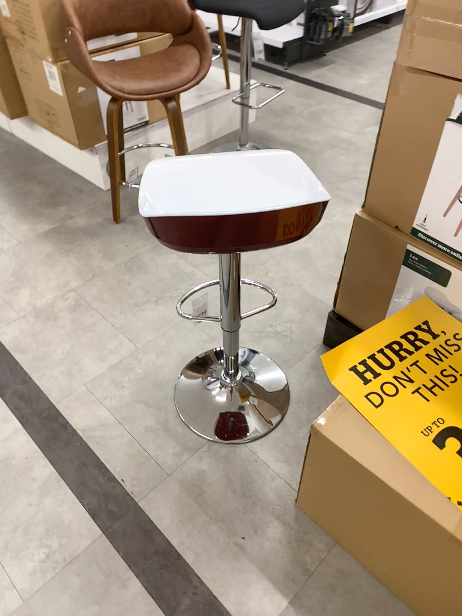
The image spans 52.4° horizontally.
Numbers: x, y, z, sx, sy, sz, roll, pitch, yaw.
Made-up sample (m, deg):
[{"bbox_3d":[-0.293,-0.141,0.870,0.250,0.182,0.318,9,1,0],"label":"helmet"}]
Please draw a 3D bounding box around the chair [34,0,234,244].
[{"bbox_3d":[-0.388,-0.890,2.136,0.644,0.926,0.526,-18,47,-17],"label":"chair"}]

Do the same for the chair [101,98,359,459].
[{"bbox_3d":[-0.029,-0.042,1.236,0.443,0.797,0.456,-7,44,-6],"label":"chair"}]
